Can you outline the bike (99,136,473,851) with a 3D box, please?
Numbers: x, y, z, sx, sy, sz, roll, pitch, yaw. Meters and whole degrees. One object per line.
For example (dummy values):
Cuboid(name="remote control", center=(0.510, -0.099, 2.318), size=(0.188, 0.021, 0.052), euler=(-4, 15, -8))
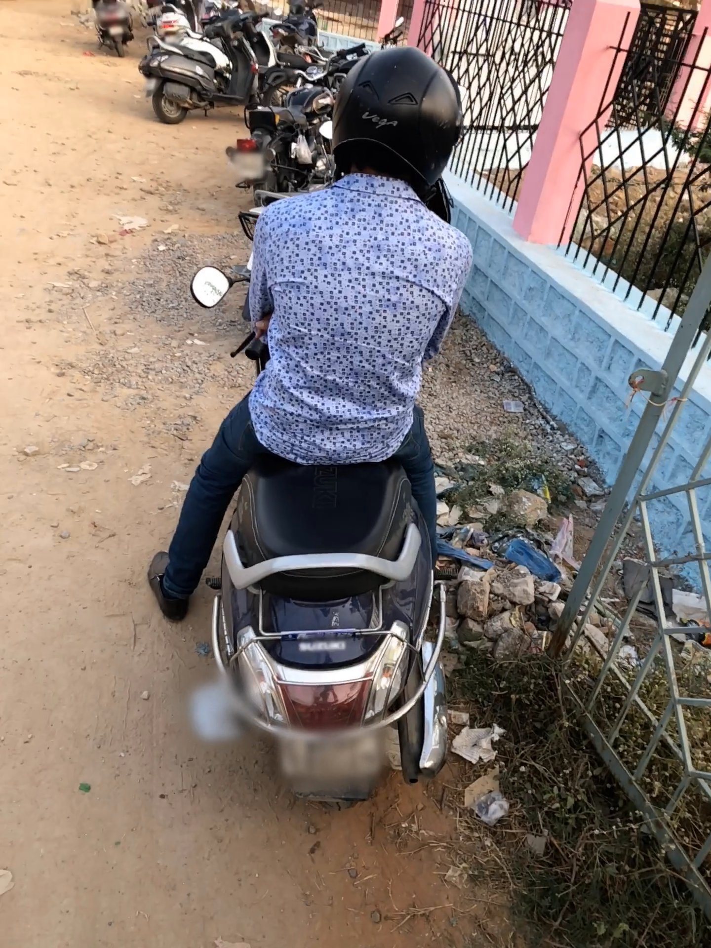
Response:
Cuboid(name="bike", center=(-0.338, -0.050, 2.034), size=(0.593, 1.013, 1.400), euler=(1, 38, -14))
